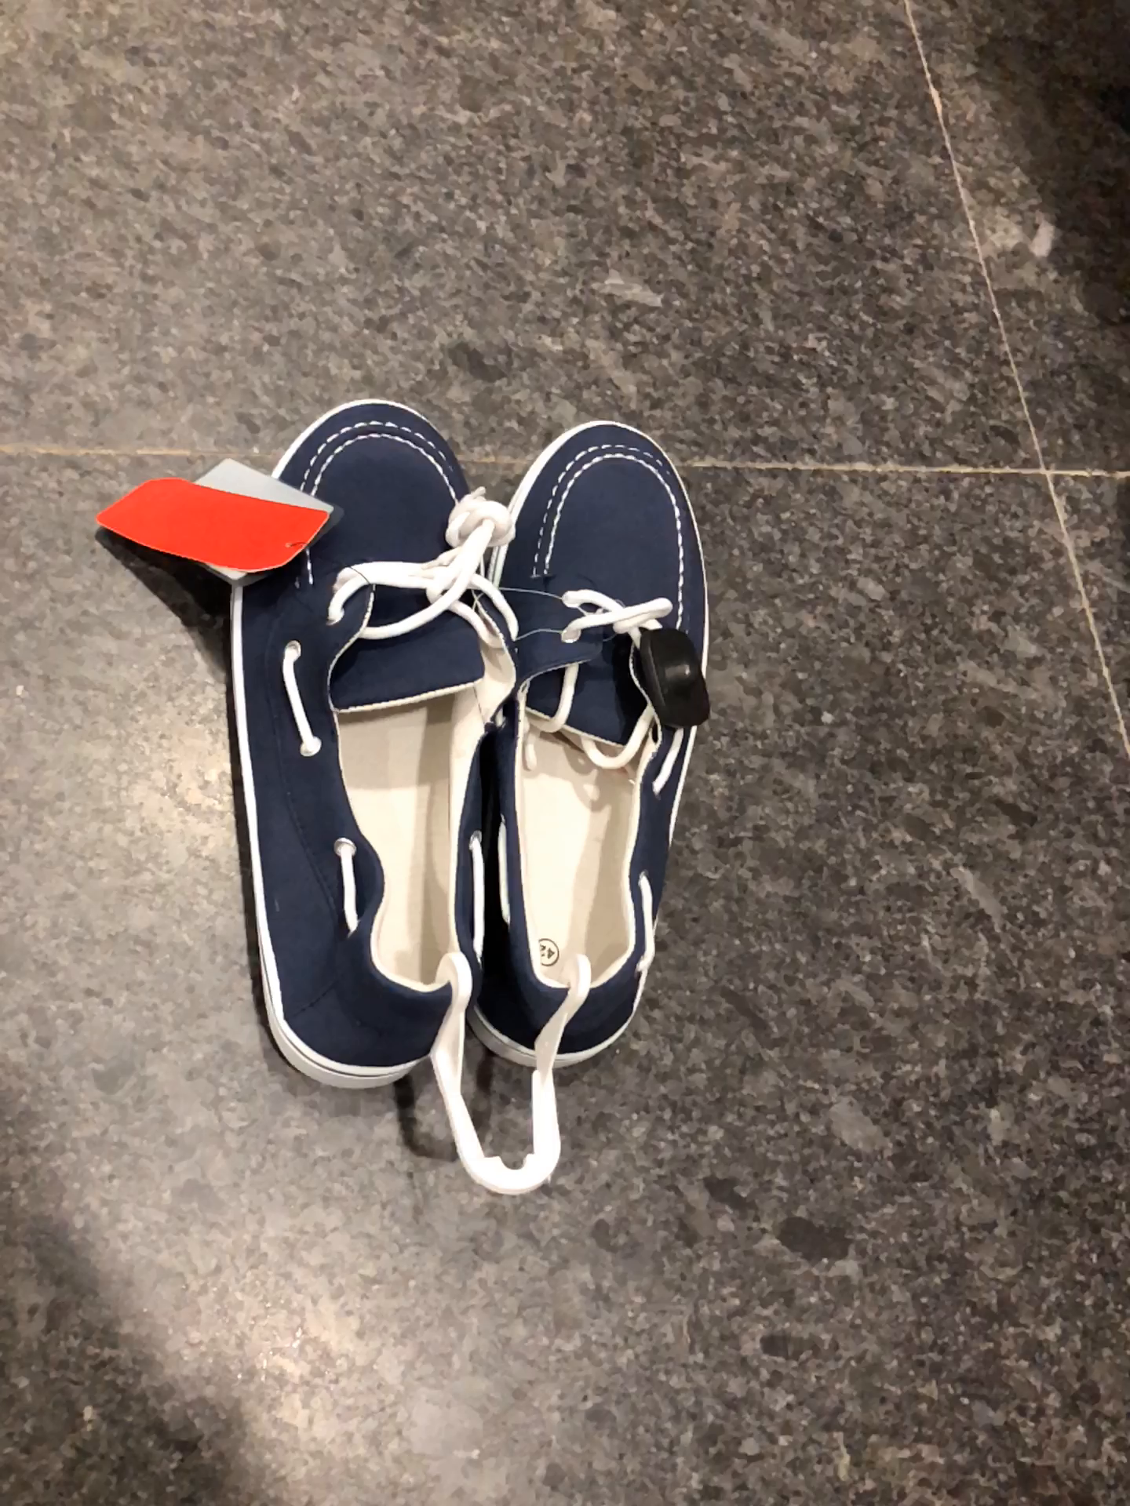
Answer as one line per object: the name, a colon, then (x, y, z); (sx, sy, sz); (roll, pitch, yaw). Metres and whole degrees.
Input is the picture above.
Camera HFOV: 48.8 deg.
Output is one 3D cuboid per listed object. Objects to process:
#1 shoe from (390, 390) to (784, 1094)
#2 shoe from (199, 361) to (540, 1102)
shoe: (0.010, 0.001, 0.505); (0.096, 0.115, 0.247); (14, 67, -15)
shoe: (-0.076, -0.001, 0.471); (0.097, 0.115, 0.249); (5, 70, -19)
